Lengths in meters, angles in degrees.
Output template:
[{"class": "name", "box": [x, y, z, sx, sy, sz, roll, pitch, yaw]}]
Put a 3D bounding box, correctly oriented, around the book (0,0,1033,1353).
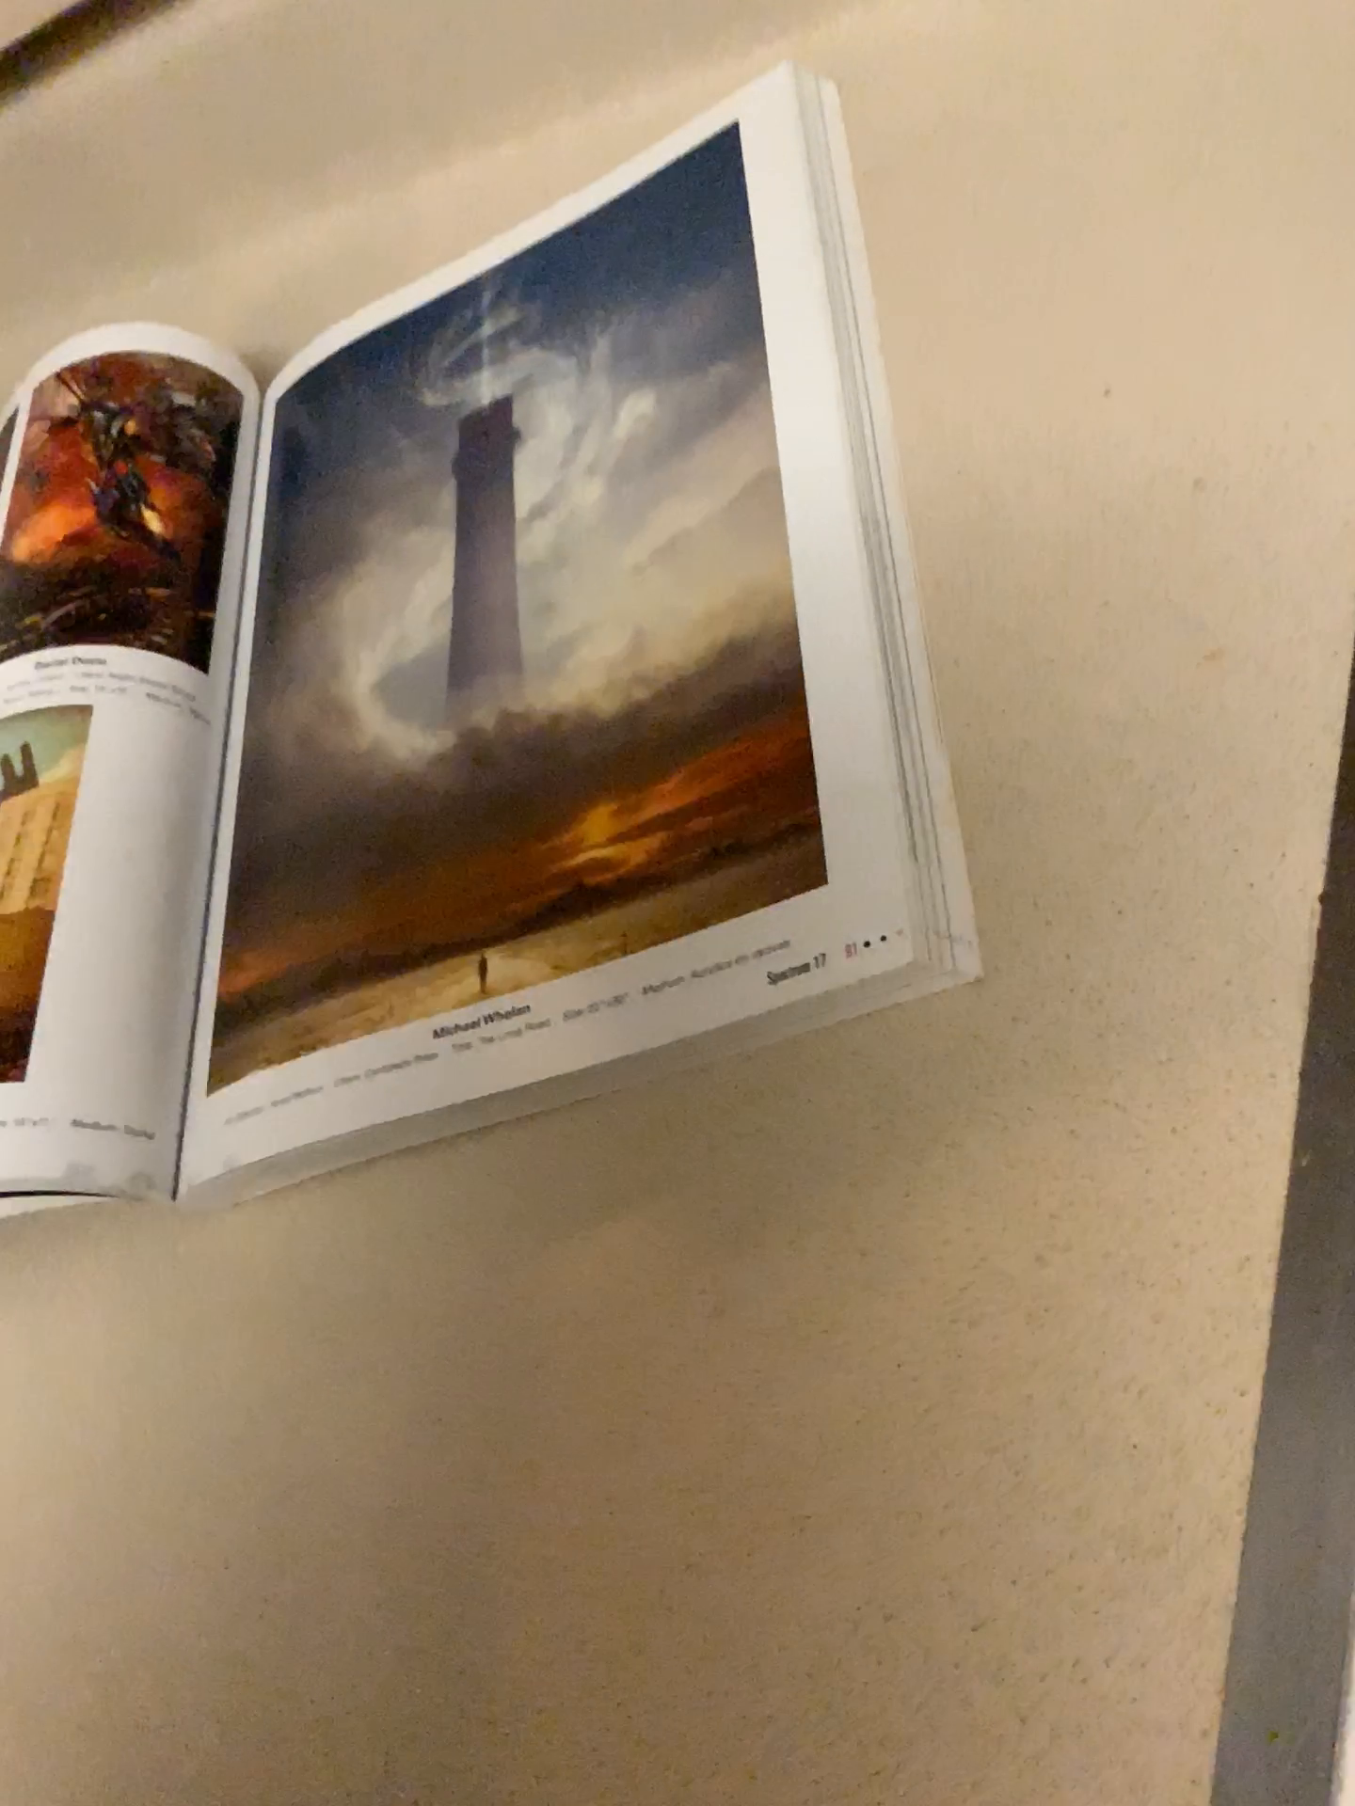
[{"class": "book", "box": [-0.143, -0.069, 0.456, 0.450, 0.070, 0.320, -20, 57, 28]}]
